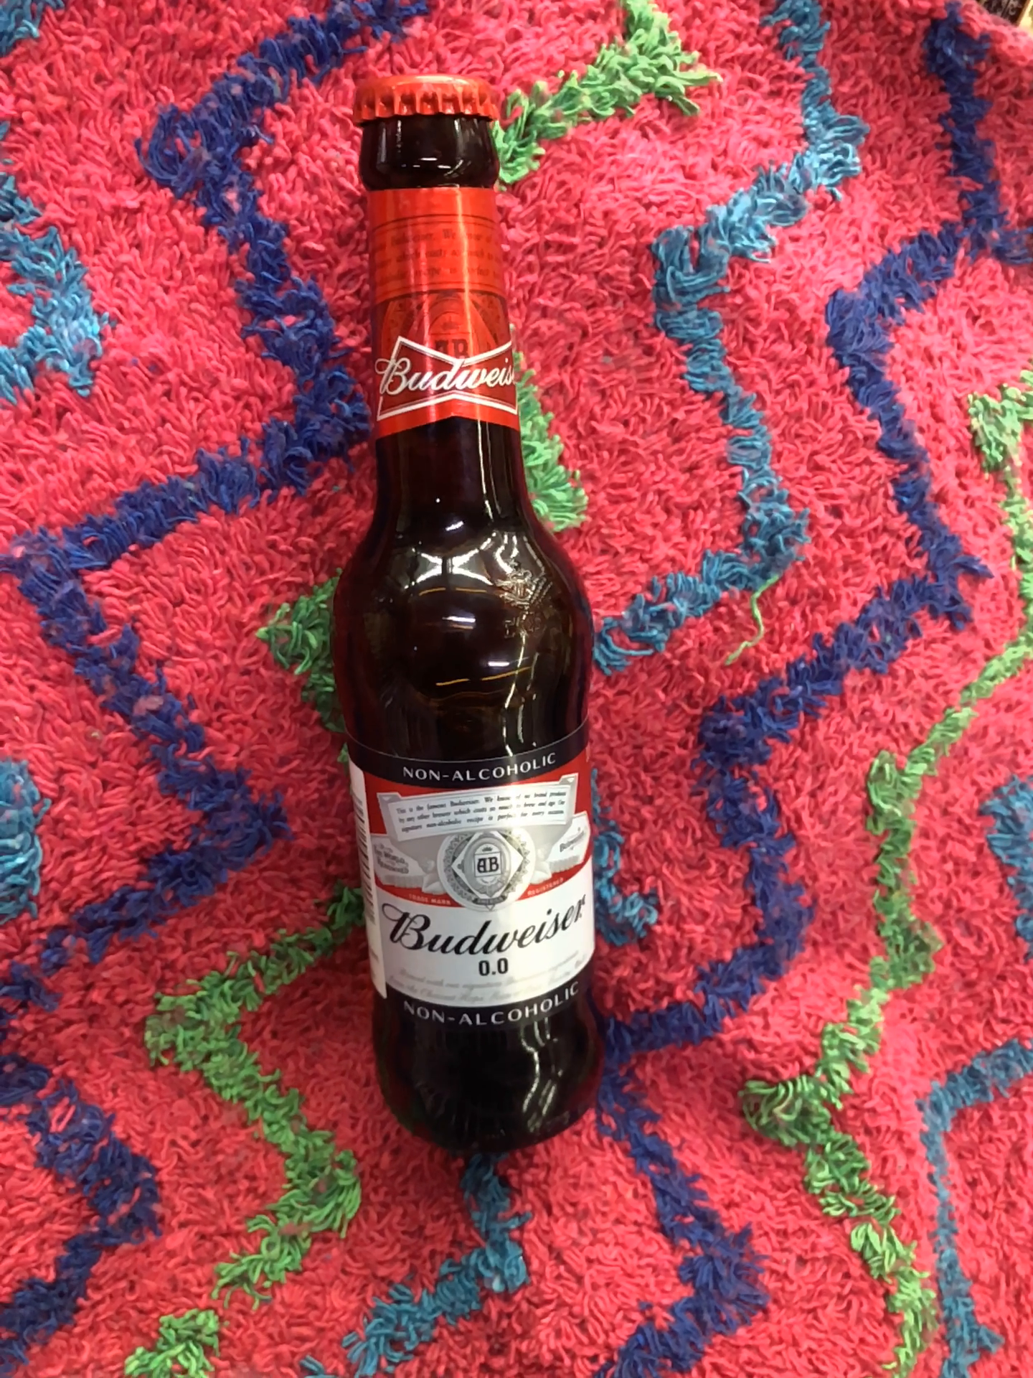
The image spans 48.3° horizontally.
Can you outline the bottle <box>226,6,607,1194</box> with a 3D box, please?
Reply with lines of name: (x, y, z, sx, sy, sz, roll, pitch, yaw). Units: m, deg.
bottle: (-0.019, -0.011, 0.268, 0.060, 0.050, 0.250, -6, 105, -7)
